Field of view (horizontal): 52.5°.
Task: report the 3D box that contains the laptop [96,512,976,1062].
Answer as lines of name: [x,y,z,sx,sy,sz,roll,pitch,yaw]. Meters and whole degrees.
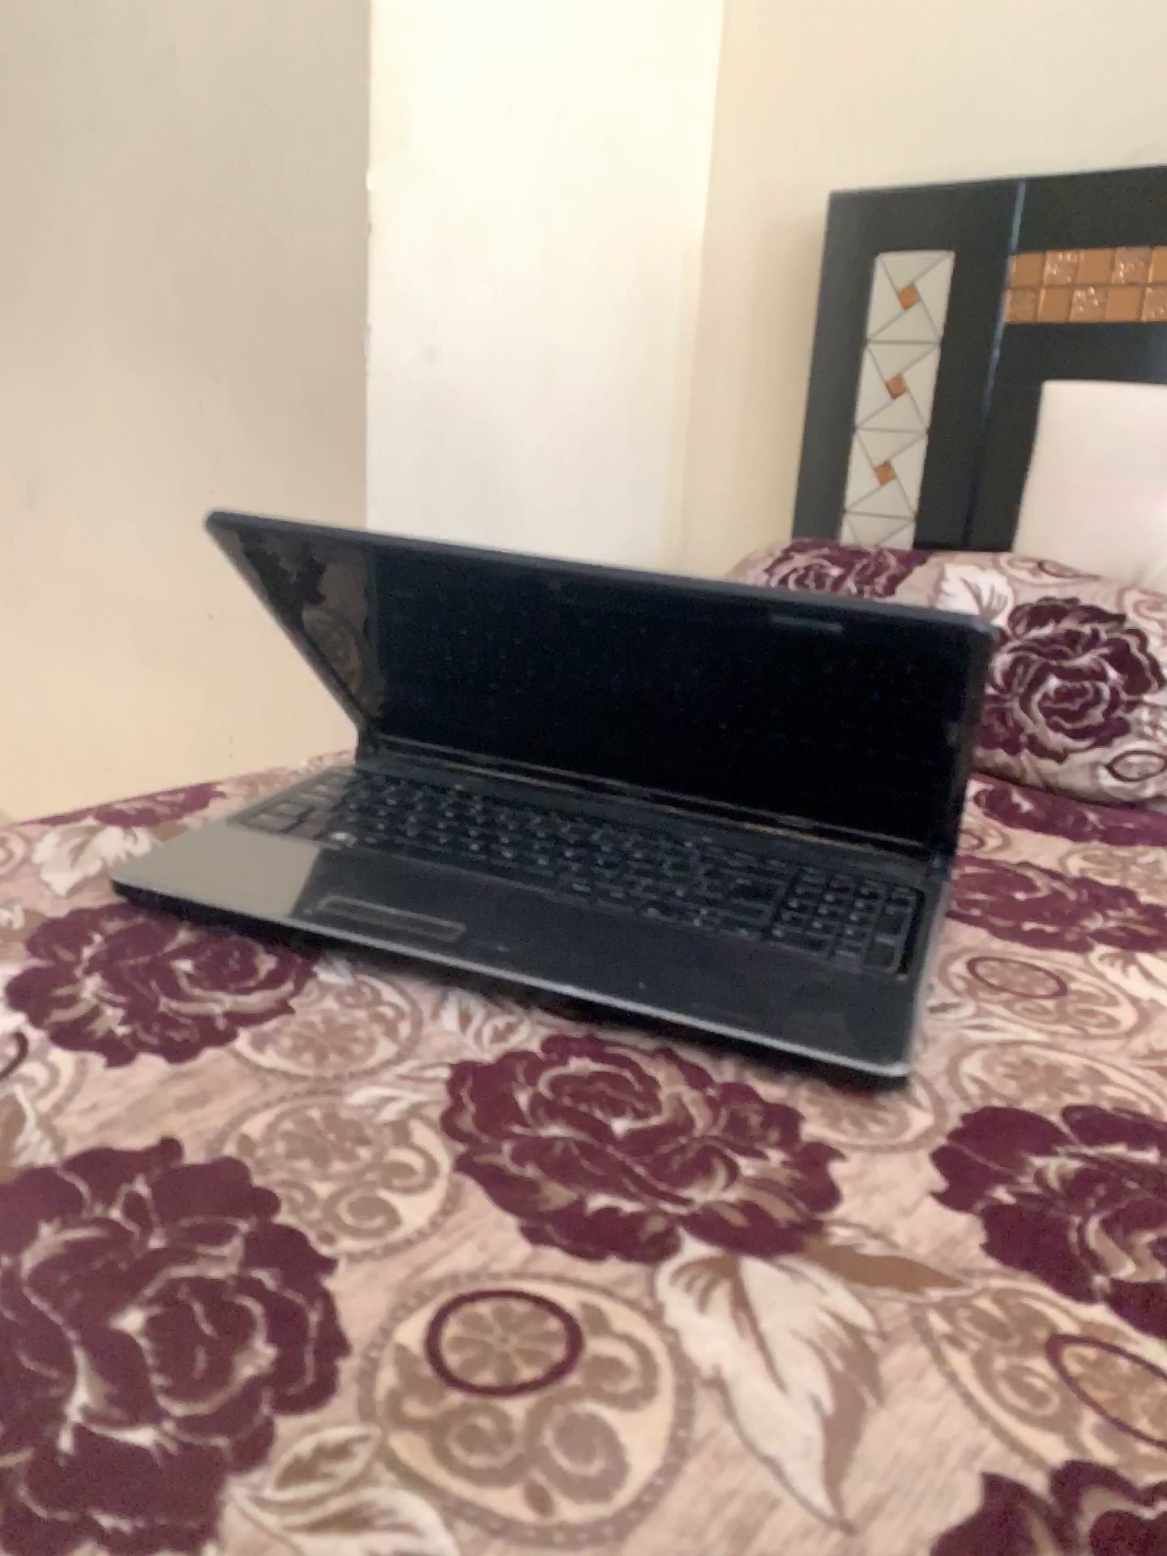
laptop: [-0.012,-0.028,0.582,0.363,0.154,0.221,10,18,19]
